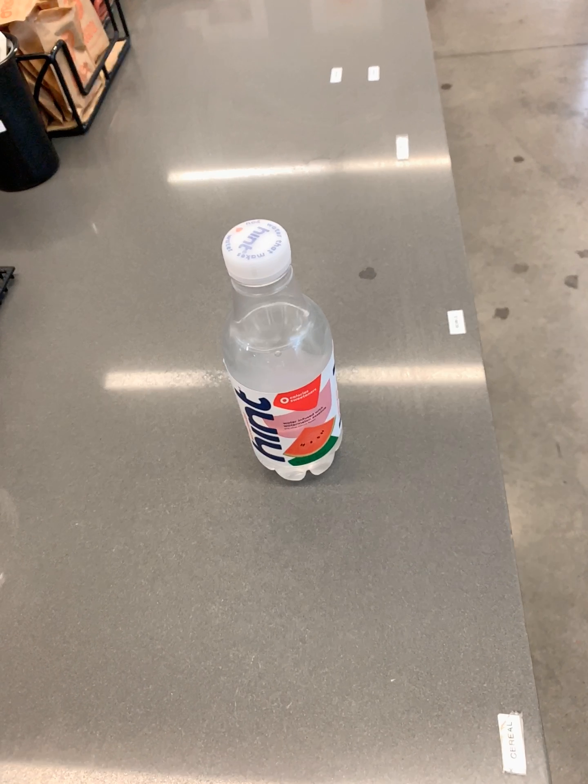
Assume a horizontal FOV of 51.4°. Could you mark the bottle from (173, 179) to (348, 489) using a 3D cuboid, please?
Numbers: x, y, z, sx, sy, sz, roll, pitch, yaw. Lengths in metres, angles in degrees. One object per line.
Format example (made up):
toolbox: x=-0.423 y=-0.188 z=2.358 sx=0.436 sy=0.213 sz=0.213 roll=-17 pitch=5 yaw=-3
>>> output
bottle: x=-0.009 y=-0.020 z=0.376 sx=0.070 sy=0.199 sz=0.070 roll=-4 pitch=53 yaw=6
